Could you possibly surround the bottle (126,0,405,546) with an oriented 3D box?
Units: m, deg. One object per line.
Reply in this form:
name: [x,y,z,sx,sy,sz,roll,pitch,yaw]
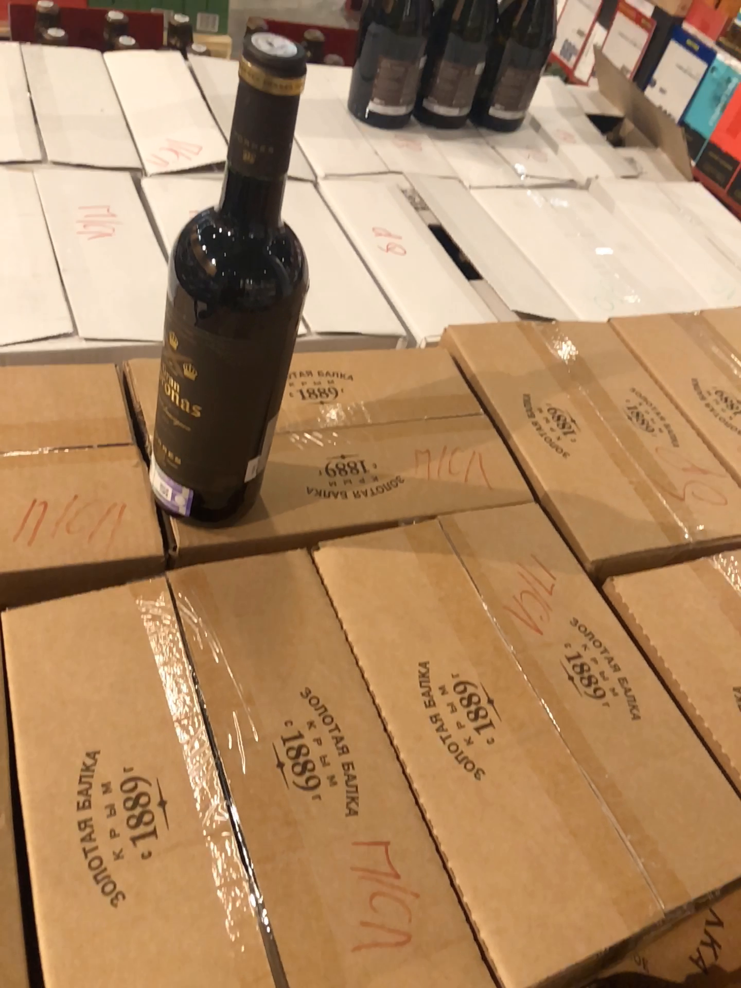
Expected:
bottle: [-0.076,-0.103,0.455,0.090,0.278,0.090,9,46,-9]
